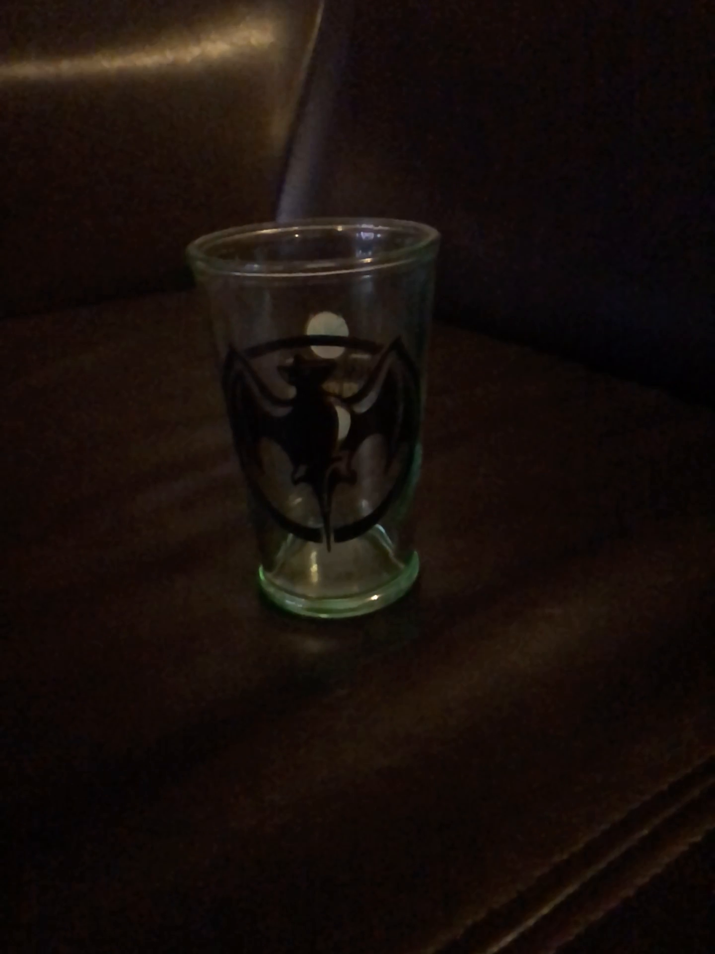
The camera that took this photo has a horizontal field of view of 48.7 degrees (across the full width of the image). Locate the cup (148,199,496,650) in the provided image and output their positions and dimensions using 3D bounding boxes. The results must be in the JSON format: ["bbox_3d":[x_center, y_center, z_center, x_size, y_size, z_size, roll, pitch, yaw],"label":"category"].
[{"bbox_3d":[-0.002,-0.019,0.254,0.084,0.117,0.088,-3,27,2],"label":"cup"}]
